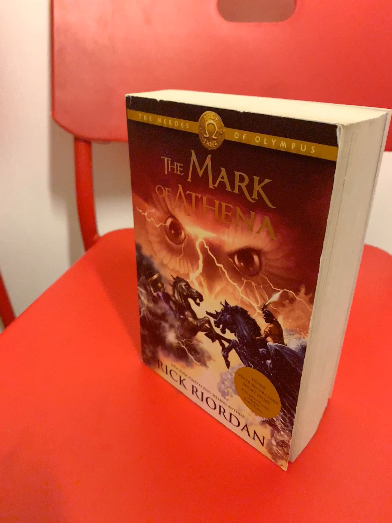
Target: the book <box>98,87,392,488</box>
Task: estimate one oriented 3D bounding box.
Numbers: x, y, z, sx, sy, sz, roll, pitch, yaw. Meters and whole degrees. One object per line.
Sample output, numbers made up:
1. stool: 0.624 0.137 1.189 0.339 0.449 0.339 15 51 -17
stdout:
1. book: 0.022 0.009 0.242 0.139 0.193 0.061 21 34 33
